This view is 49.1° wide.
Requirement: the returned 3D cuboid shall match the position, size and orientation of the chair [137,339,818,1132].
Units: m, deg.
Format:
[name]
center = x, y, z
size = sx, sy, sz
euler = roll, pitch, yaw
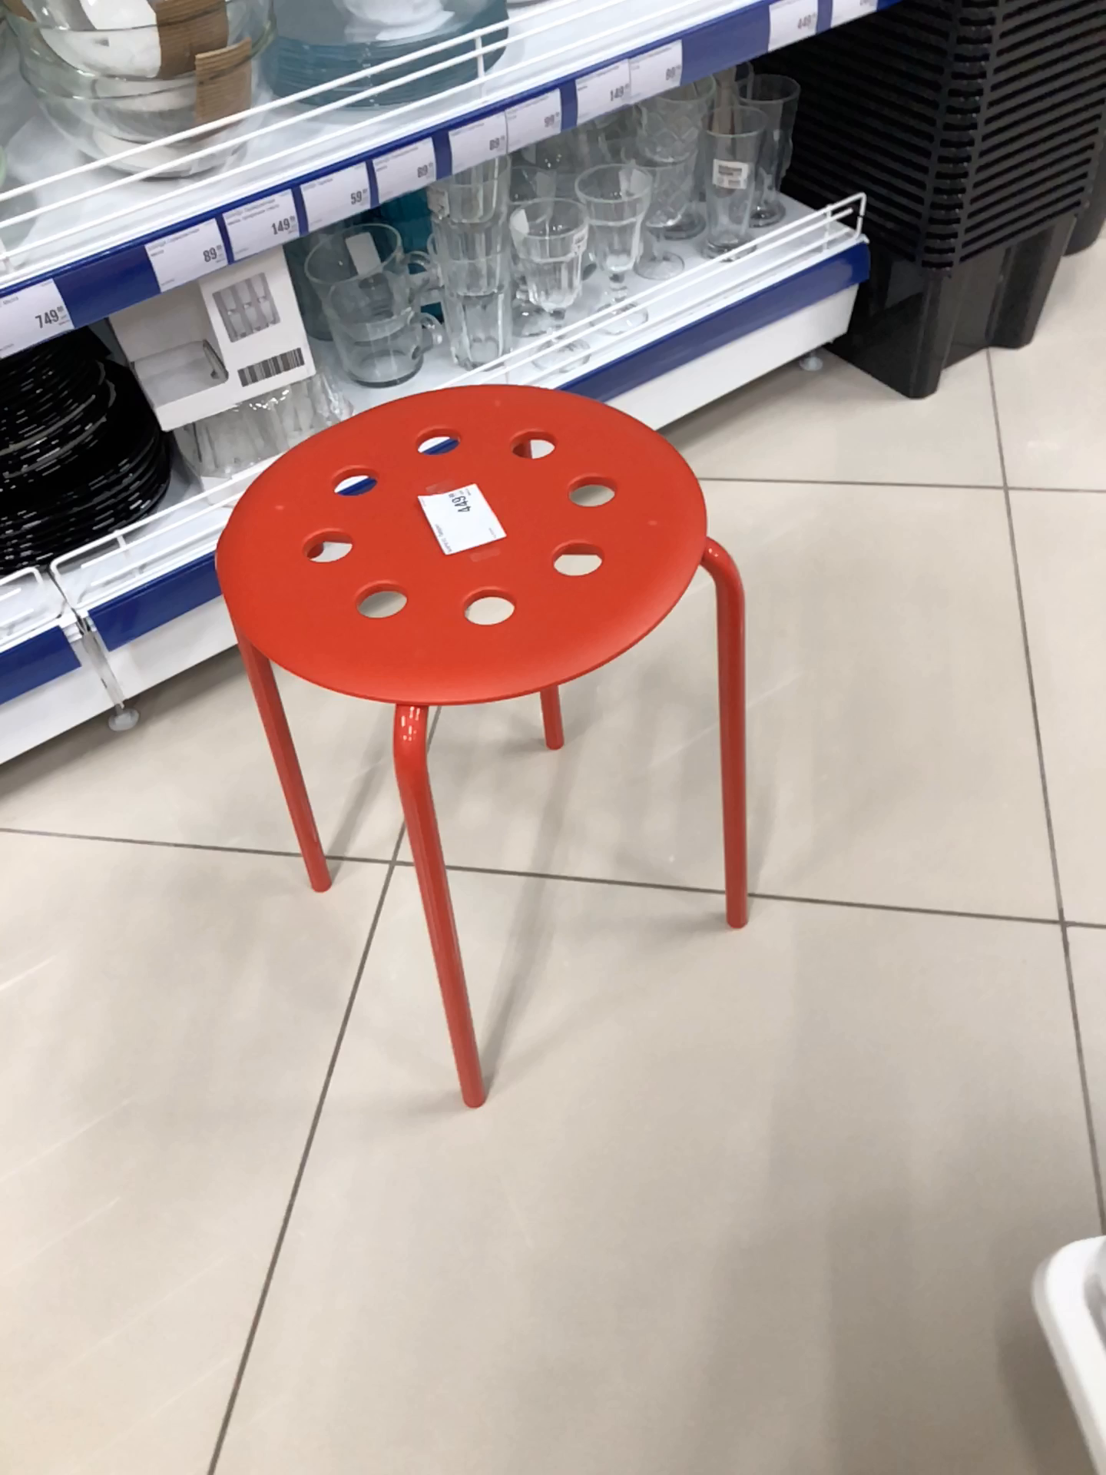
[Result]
[chair]
center = -0.043, 0.000, 0.920
size = 0.314, 0.405, 0.321
euler = -30, 52, -19
